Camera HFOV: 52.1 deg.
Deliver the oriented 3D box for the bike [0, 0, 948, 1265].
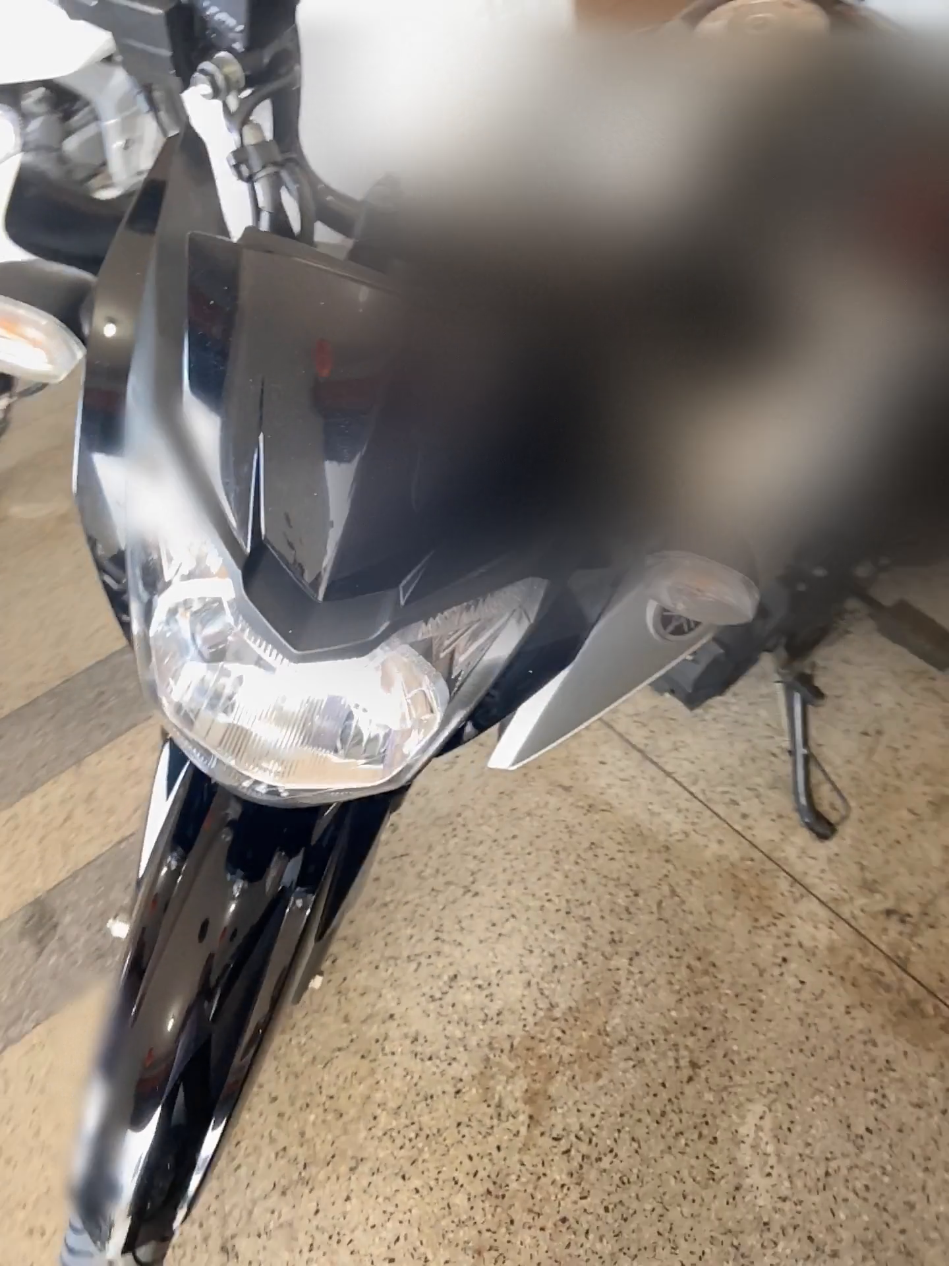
[{"bbox_3d":[0.466,-0.136,0.909,2.007,1.332,0.818,-40,51,-23],"label":"bike"}]
